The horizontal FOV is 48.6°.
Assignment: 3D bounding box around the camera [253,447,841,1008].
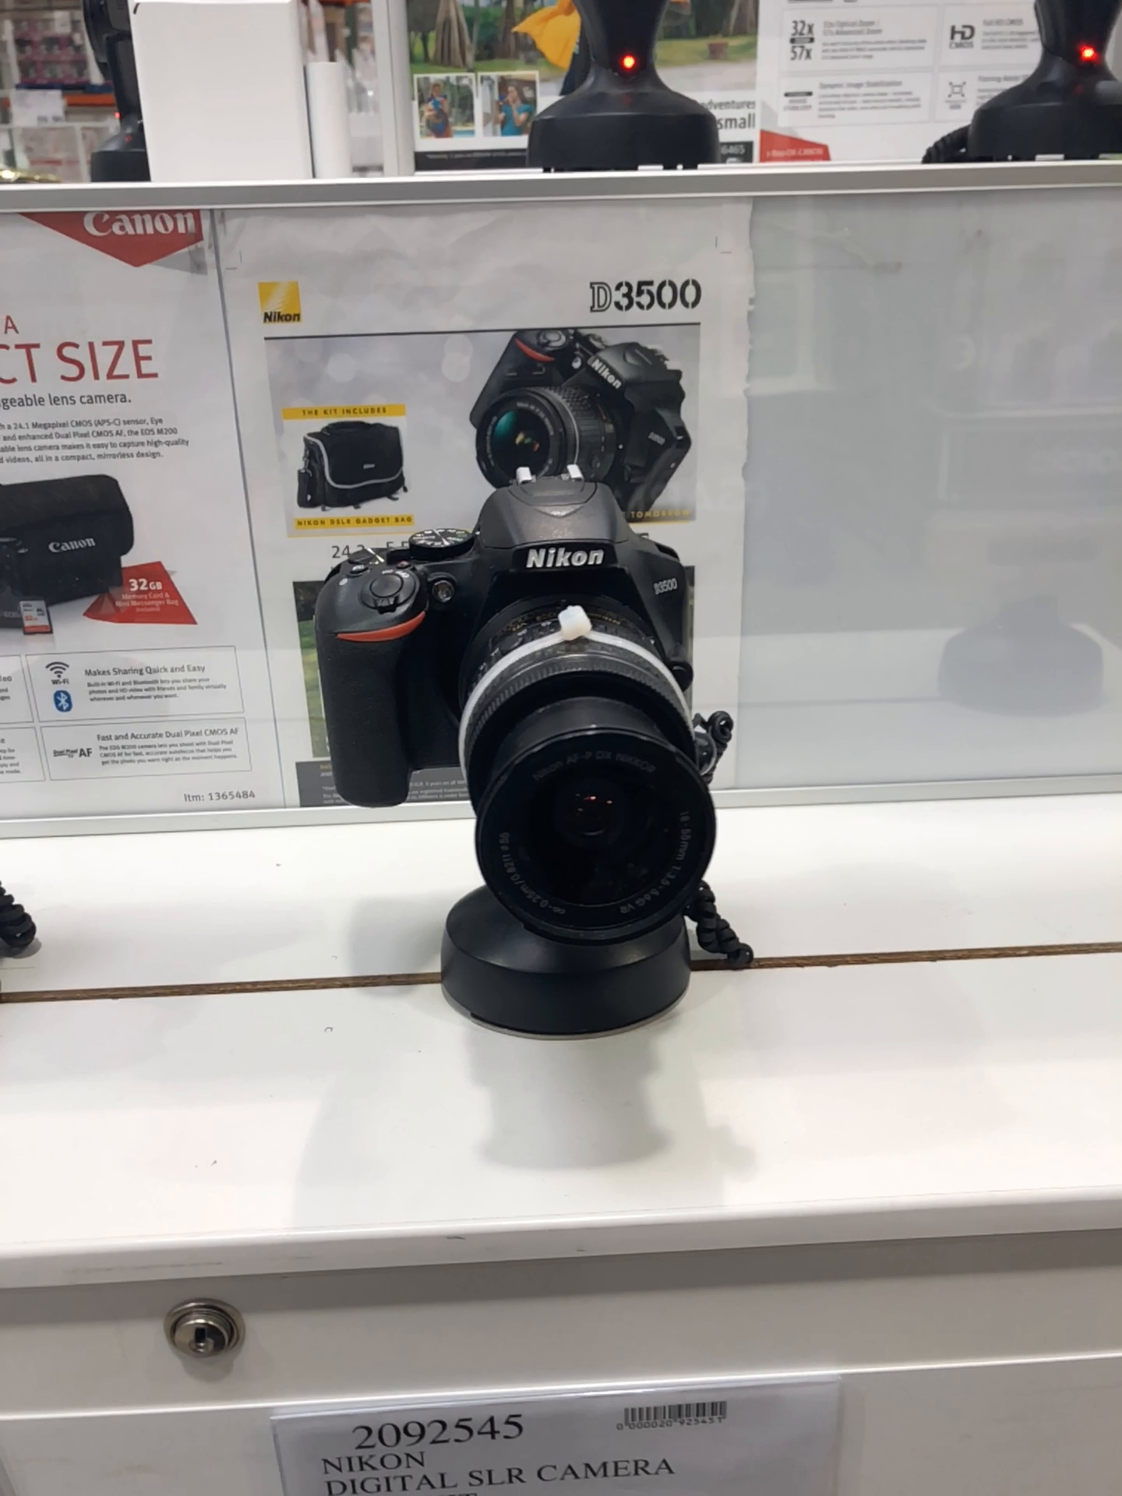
[{"bbox_3d":[-0.011,-0.023,0.403,0.140,0.110,0.191,-4,23,-5],"label":"camera"}]
